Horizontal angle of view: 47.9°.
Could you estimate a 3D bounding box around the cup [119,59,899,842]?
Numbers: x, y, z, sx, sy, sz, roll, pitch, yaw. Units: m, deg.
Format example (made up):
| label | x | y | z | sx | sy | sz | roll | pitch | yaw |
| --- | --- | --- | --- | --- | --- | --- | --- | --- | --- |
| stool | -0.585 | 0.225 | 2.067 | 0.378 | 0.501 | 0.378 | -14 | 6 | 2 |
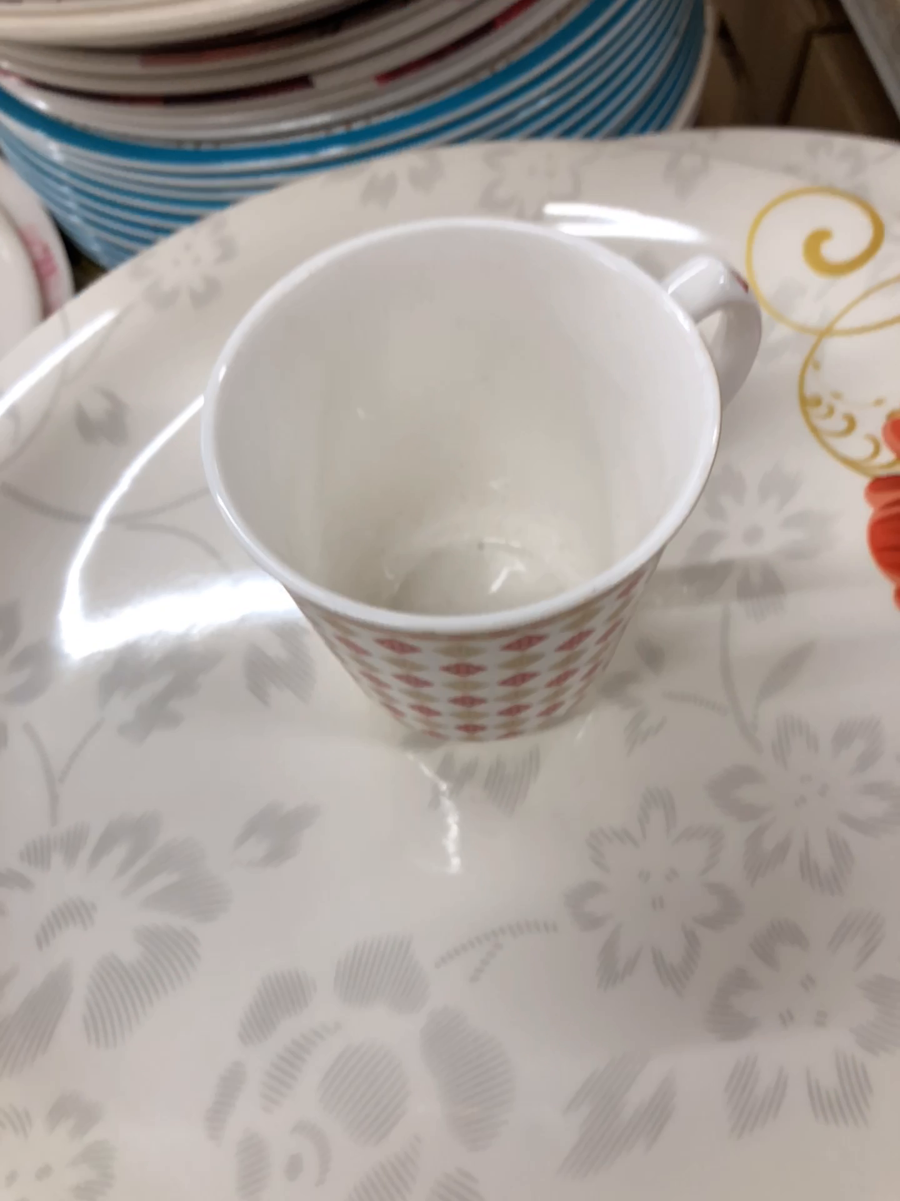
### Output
| label | x | y | z | sx | sy | sz | roll | pitch | yaw |
| --- | --- | --- | --- | --- | --- | --- | --- | --- | --- |
| cup | 0.019 | -0.025 | 0.196 | 0.120 | 0.080 | 0.080 | -25 | 64 | -8 |
